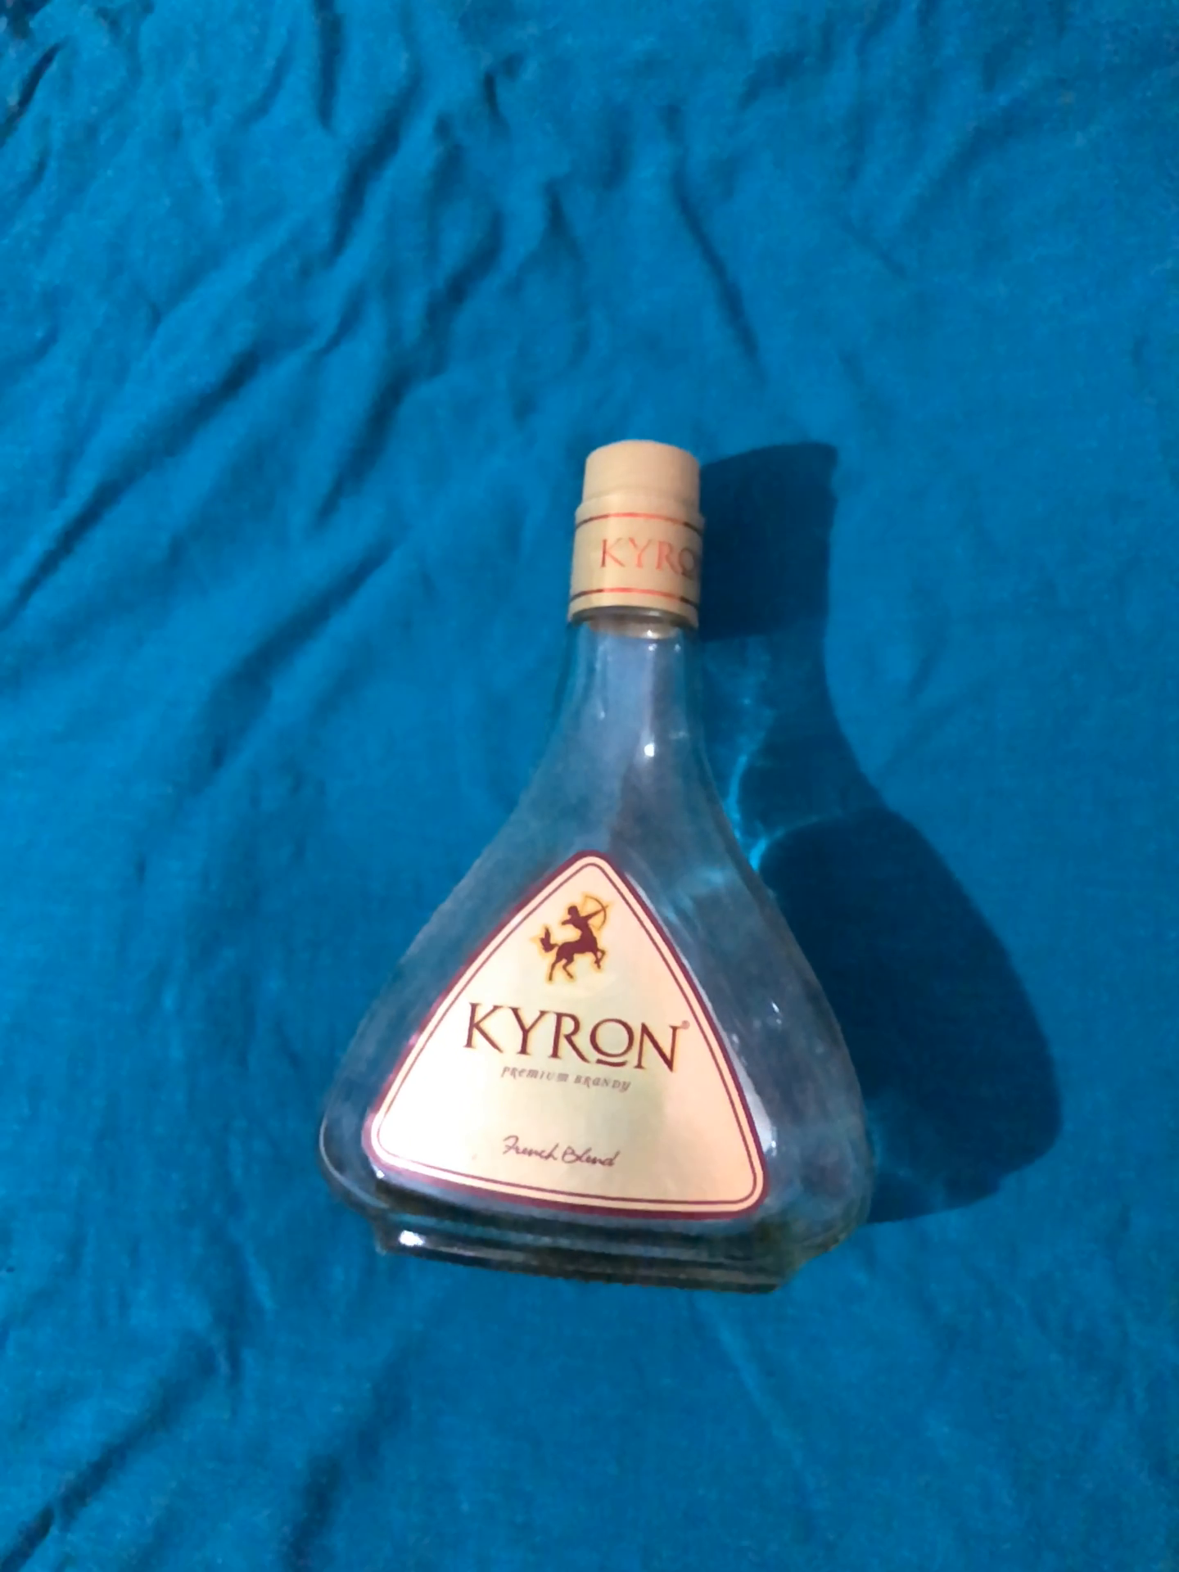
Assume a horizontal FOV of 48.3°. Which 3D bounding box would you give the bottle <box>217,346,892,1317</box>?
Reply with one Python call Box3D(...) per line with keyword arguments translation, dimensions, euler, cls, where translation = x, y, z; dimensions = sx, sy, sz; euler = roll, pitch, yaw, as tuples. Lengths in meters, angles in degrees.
Box3D(translation=(-0.002, 0.005, 0.281), dimensions=(0.120, 0.060, 0.180), euler=(3, 84, 9), cls="bottle")
